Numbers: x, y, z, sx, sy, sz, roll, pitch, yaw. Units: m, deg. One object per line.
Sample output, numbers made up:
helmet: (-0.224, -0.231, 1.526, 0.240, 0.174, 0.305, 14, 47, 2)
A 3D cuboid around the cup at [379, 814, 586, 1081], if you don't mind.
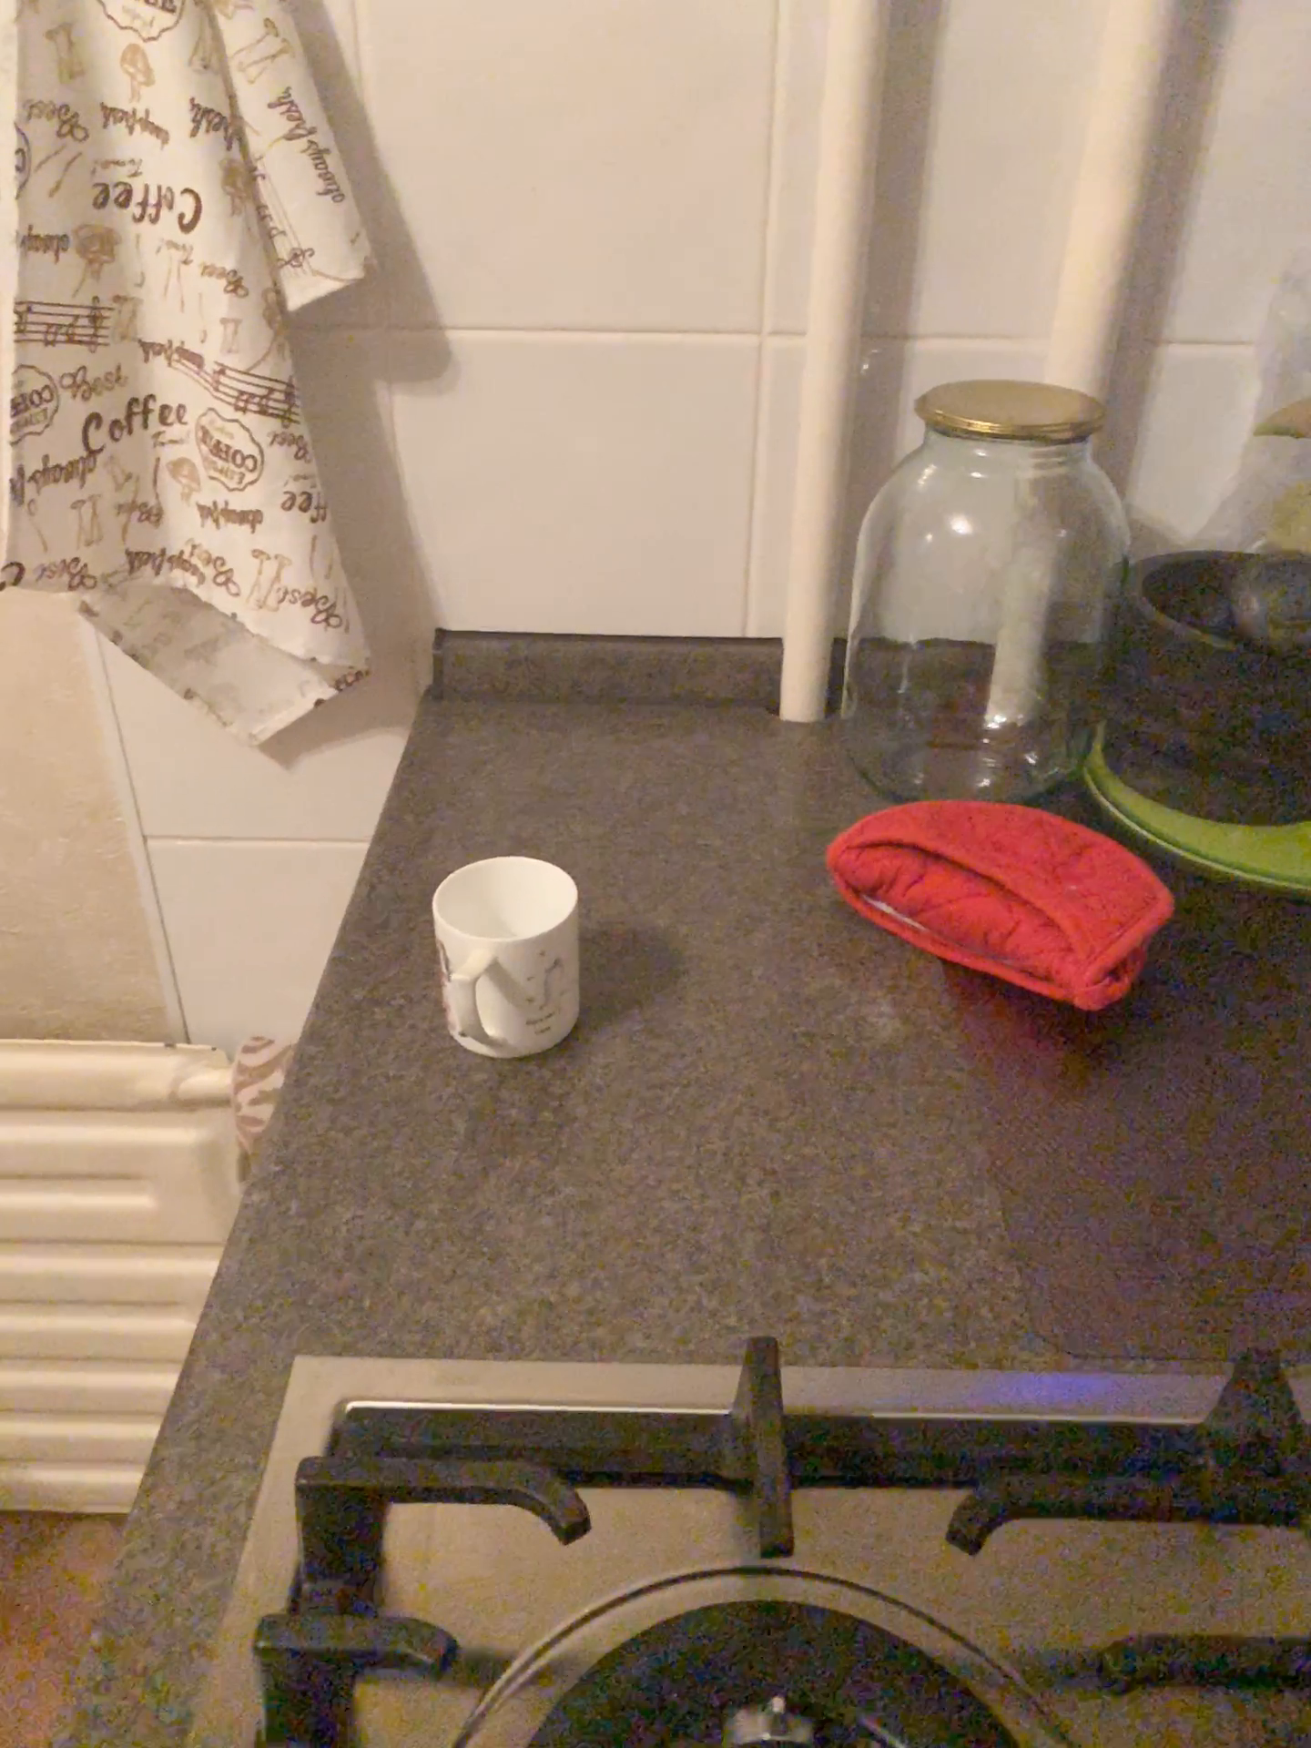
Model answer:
cup: (-0.065, 0.027, 0.535, 0.064, 0.061, 0.090, 3, 33, 3)
